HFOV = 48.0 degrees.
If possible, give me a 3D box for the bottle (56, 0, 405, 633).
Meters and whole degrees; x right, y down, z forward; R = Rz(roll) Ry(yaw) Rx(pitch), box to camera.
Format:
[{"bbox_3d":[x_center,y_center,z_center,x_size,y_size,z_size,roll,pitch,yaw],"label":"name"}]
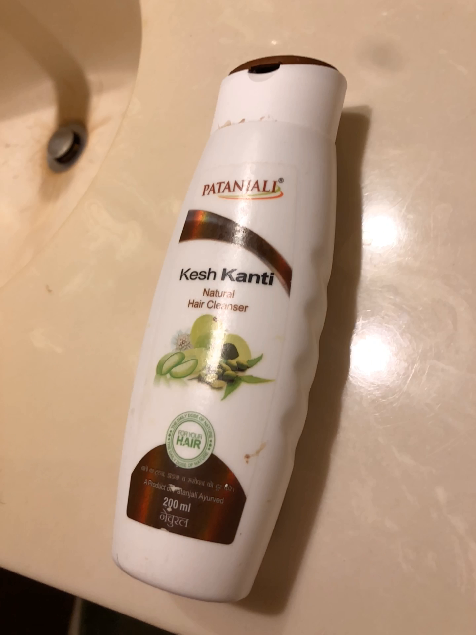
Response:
[{"bbox_3d":[0.003,-0.013,0.190,0.070,0.040,0.200,7,78,32],"label":"bottle"}]
